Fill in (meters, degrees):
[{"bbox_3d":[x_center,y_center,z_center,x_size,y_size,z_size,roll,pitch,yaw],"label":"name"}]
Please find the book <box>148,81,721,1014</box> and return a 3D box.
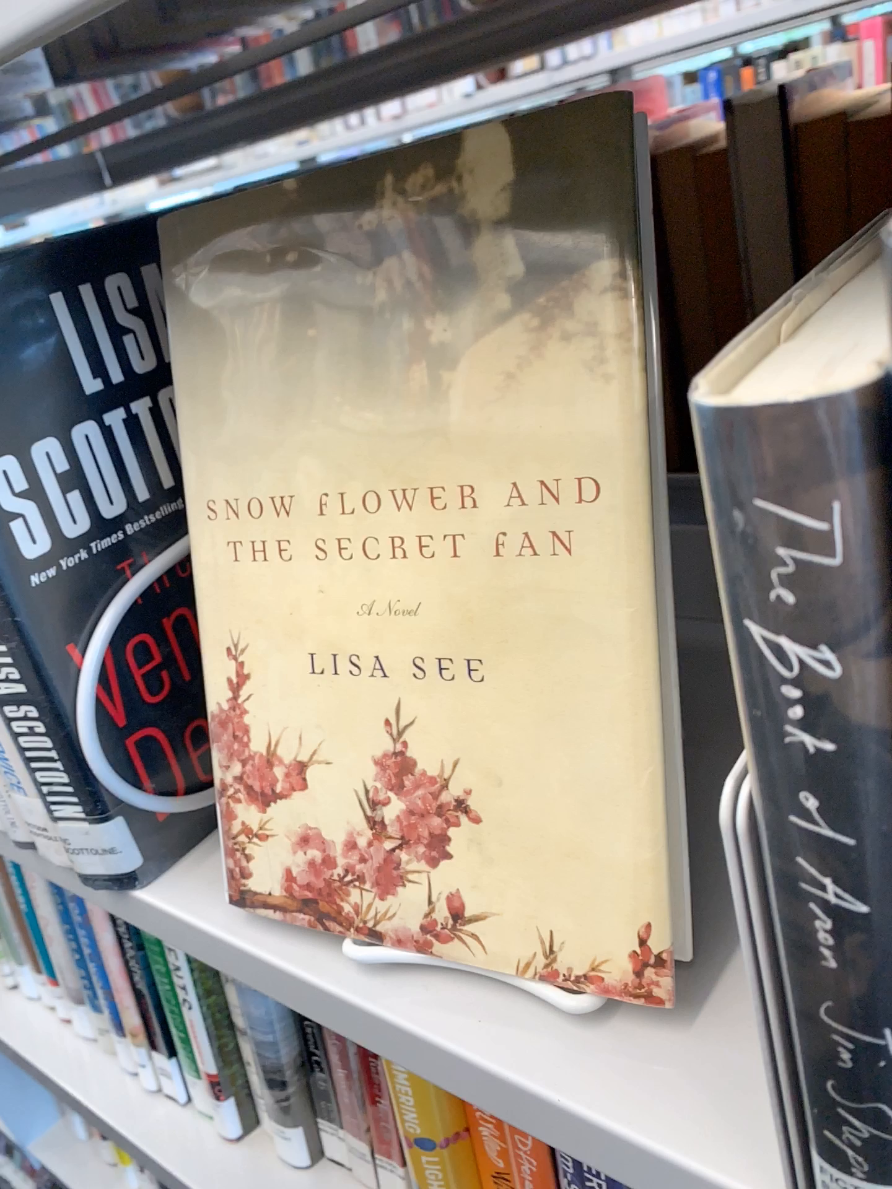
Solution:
[{"bbox_3d":[-0.007,-0.008,0.287,0.163,0.231,0.041,0,7,30],"label":"book"}]
